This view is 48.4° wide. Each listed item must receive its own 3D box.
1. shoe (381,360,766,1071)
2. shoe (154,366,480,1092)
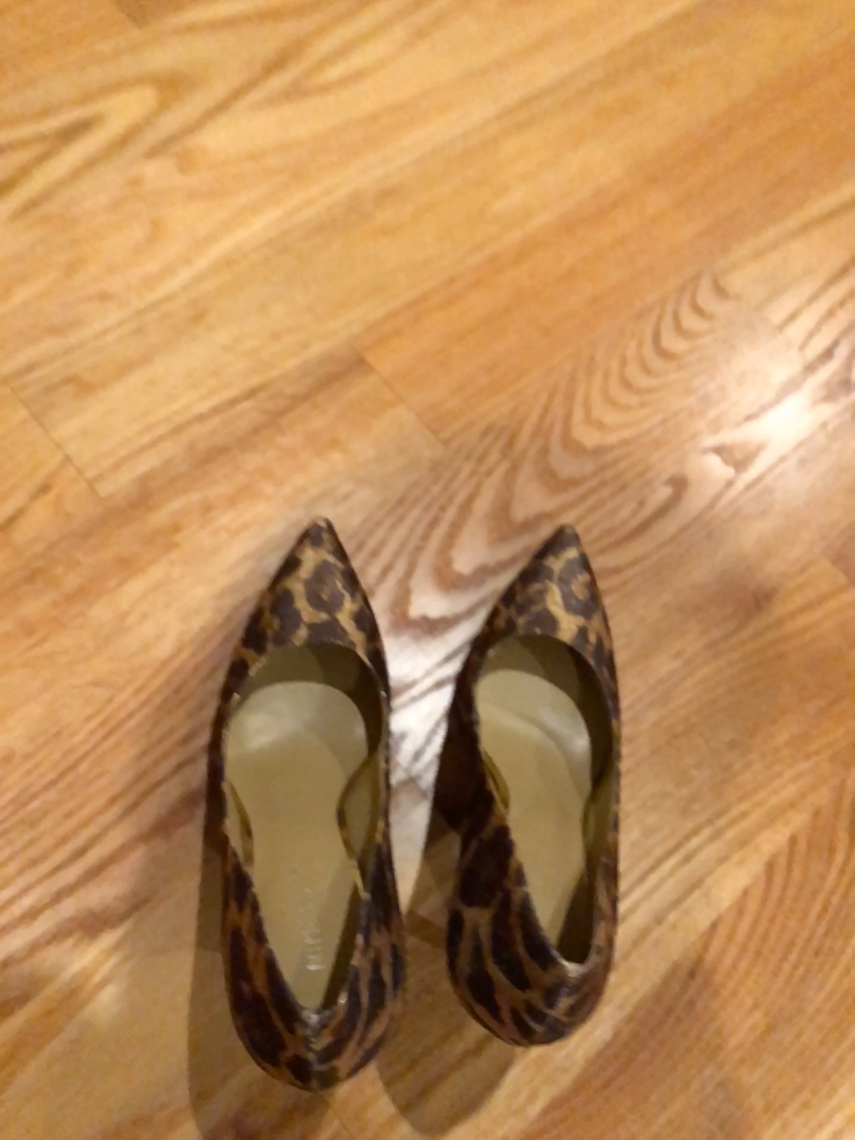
[{"bbox_3d":[0.053,0.058,0.370,0.083,0.144,0.219,14,65,-3],"label":"shoe"},{"bbox_3d":[-0.041,0.060,0.354,0.083,0.144,0.219,2,66,-8],"label":"shoe"}]
